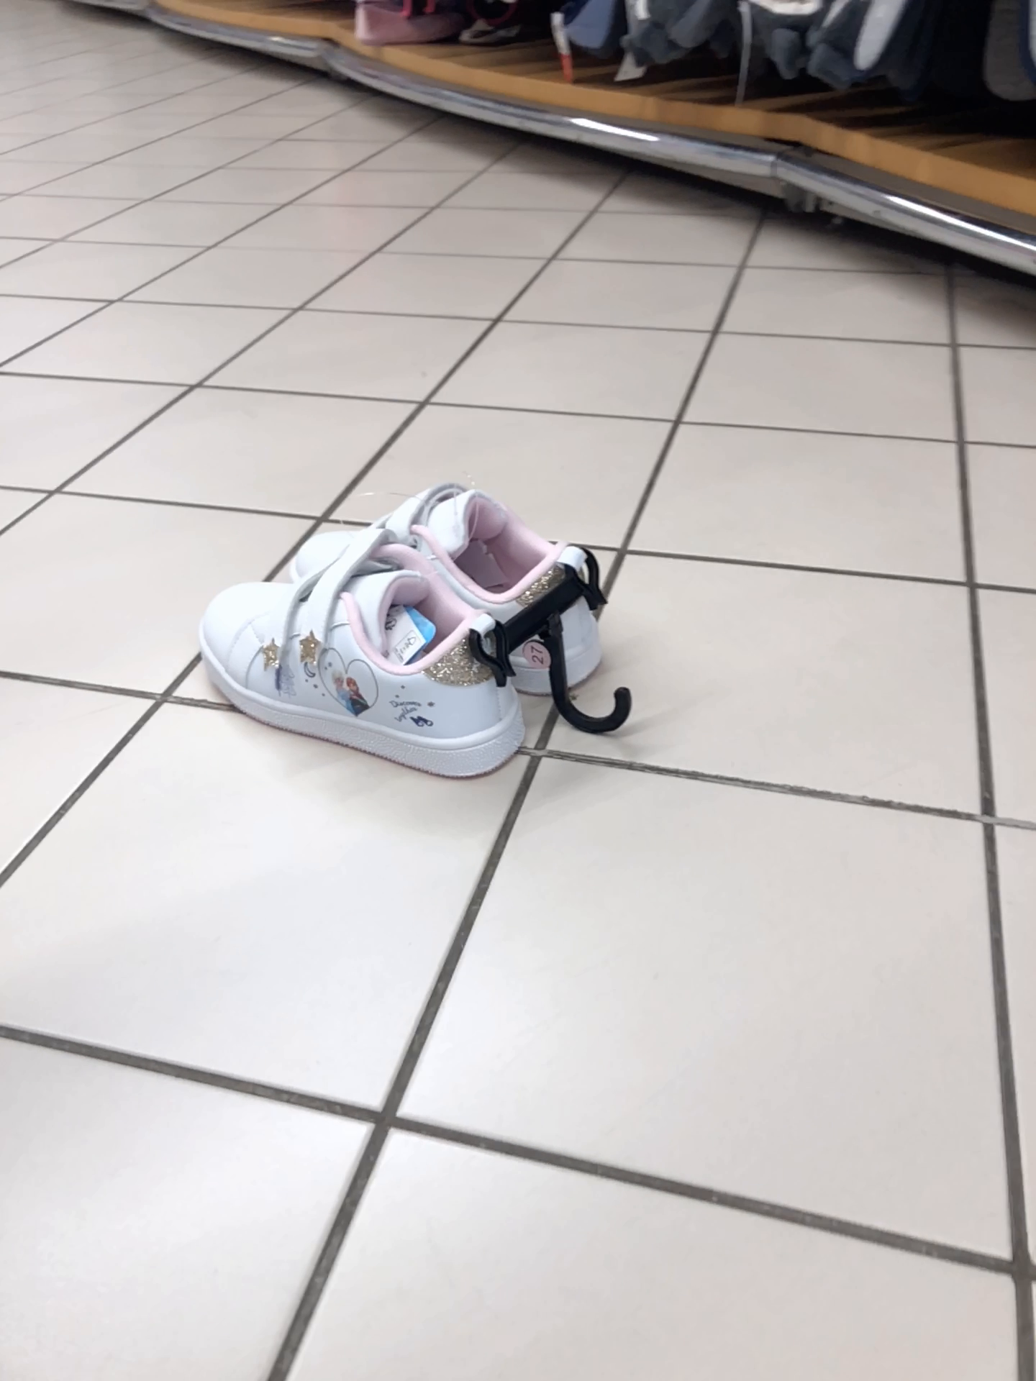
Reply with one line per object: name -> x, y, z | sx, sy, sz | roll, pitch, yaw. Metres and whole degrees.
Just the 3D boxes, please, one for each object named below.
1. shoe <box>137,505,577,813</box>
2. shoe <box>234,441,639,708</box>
shoe -> -0.078, -0.022, 0.555 | 0.200, 0.070, 0.081 | 18, 40, 27
shoe -> -0.044, -0.068, 0.606 | 0.200, 0.070, 0.081 | 18, 40, 27
